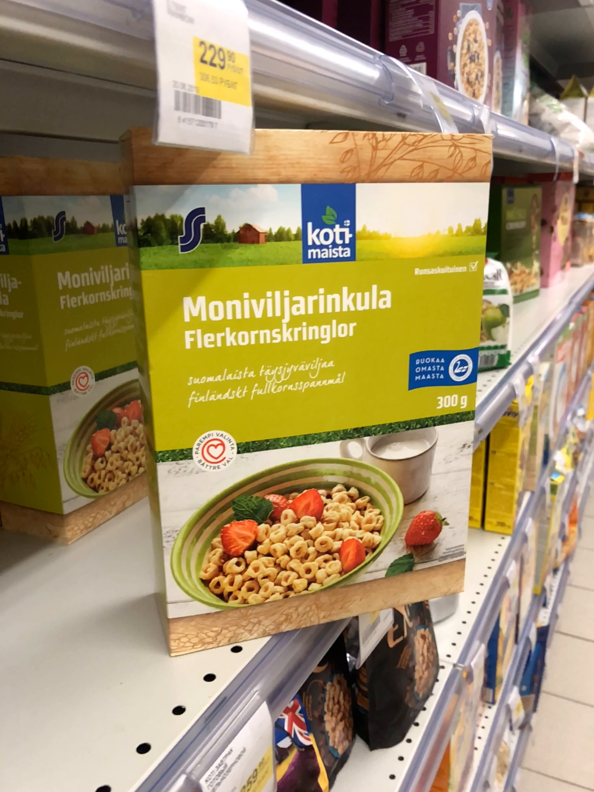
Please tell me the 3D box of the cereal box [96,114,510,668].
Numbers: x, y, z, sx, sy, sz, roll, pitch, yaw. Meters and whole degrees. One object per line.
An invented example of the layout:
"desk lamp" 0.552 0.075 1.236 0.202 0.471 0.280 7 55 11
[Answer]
"cereal box" 0.005 -0.007 0.357 0.190 0.259 0.070 -6 16 -17
